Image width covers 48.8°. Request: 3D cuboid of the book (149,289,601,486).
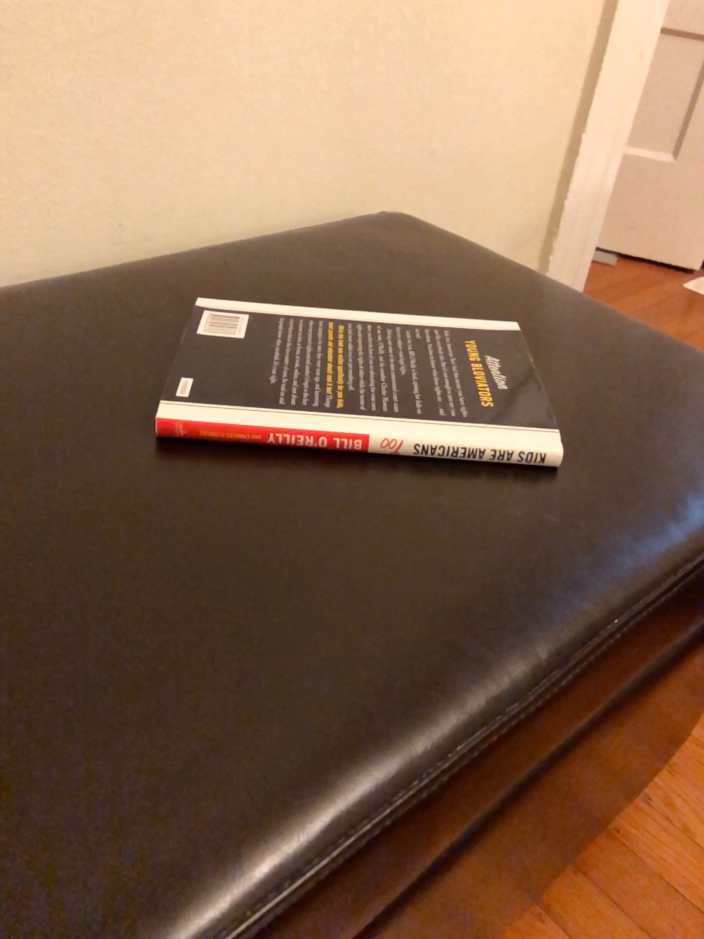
[{"bbox_3d":[0.012,-0.055,0.462,0.230,0.020,0.161,4,37,-4],"label":"book"}]
